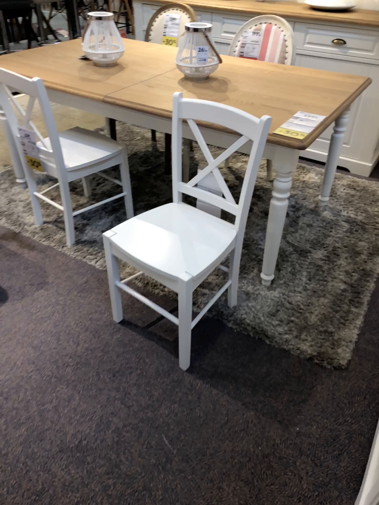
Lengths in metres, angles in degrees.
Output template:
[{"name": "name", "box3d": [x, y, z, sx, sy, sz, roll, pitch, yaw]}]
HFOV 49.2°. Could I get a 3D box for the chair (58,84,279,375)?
[{"name": "chair", "box3d": [-0.058, -0.090, 1.450, 0.460, 0.785, 0.463, 26, 43, 29]}]
